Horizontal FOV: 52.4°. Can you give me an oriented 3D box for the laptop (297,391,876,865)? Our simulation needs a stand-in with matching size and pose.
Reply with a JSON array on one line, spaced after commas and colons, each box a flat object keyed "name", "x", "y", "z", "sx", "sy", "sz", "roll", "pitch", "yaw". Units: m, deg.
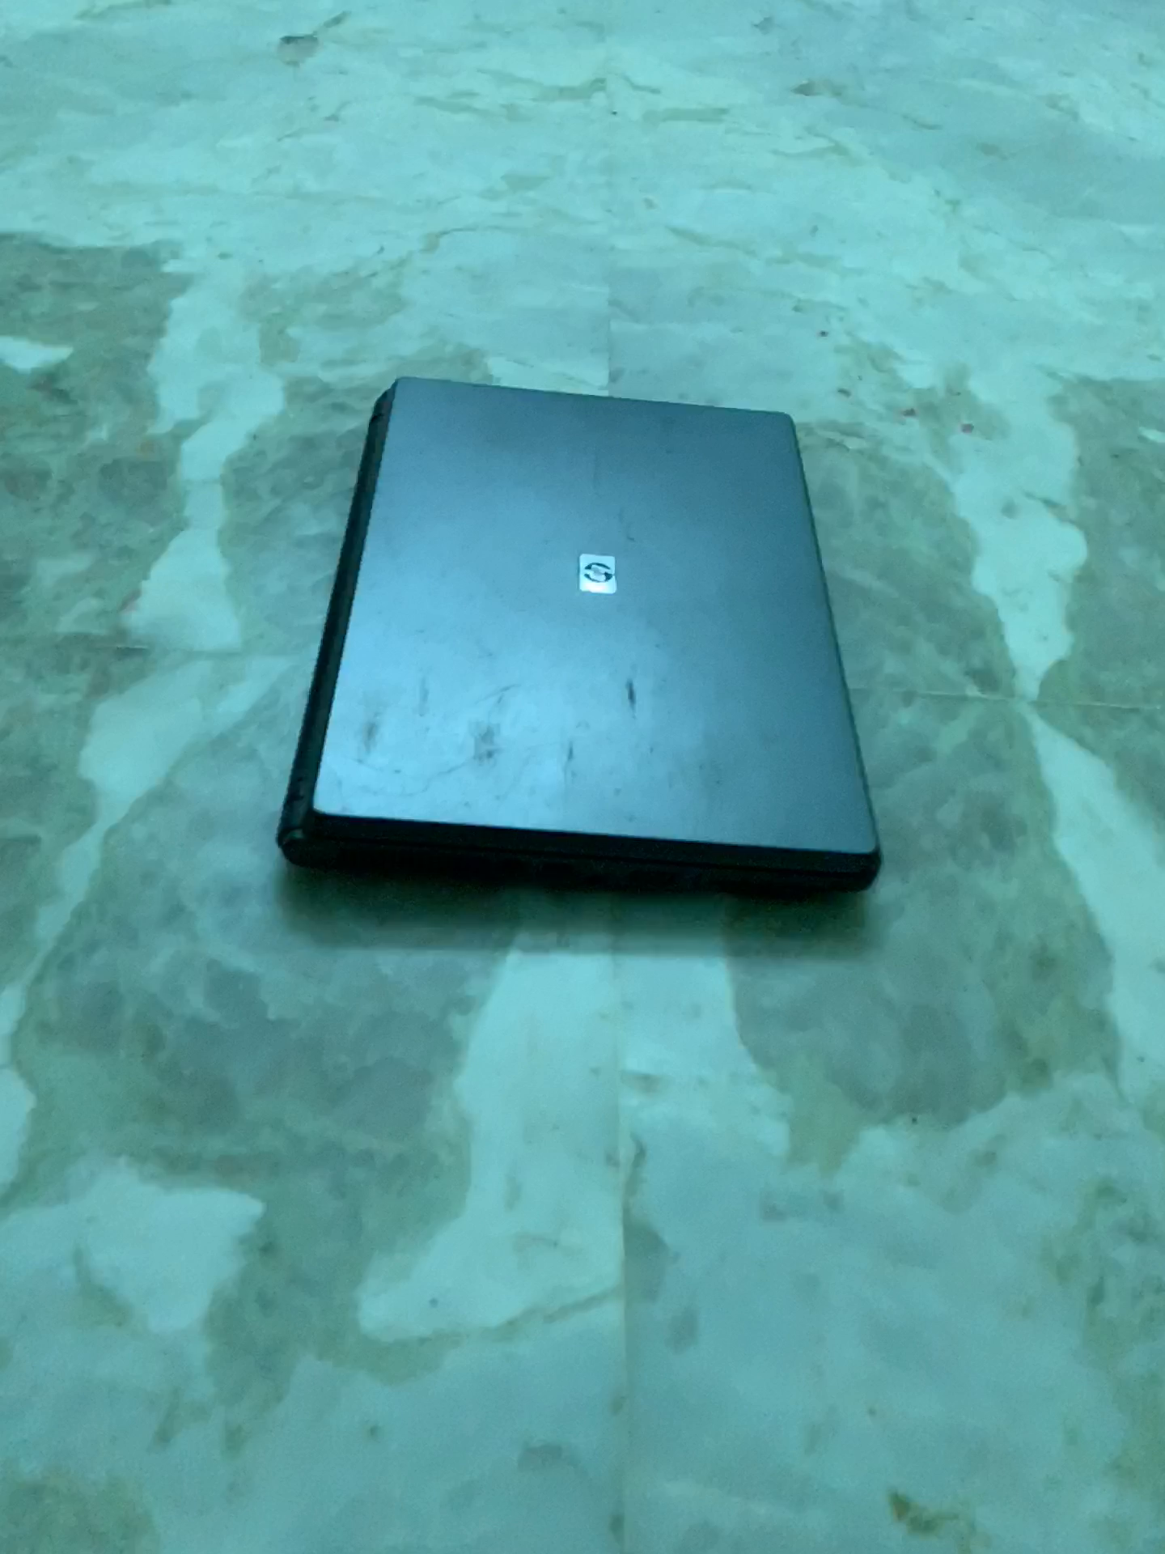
[{"name": "laptop", "x": 0.005, "y": -0.091, "z": 0.565, "sx": 0.226, "sy": 0.001, "sz": 0.311, "roll": 4, "pitch": 49, "yaw": -2}]
